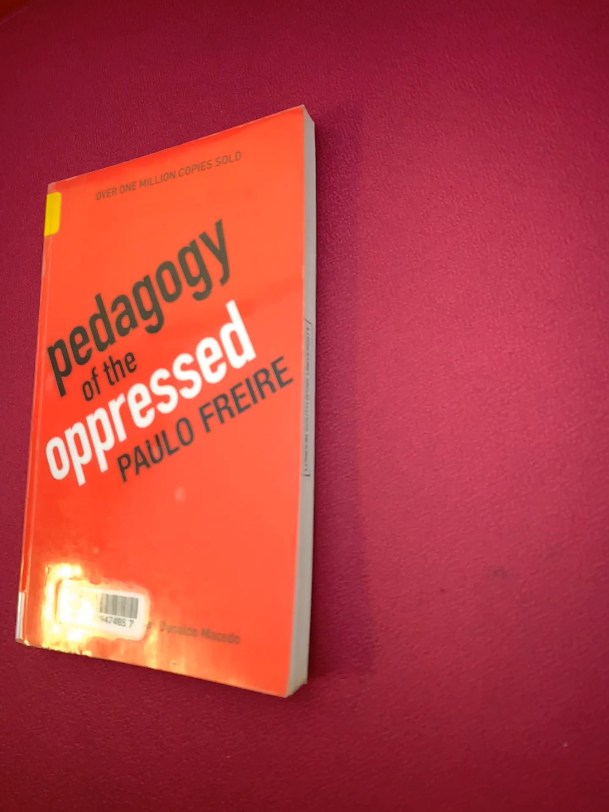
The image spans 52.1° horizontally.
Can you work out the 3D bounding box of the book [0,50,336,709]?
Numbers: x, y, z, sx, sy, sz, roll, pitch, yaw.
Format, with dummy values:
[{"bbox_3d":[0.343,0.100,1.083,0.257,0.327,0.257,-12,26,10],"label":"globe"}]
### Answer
[{"bbox_3d":[-0.069,-0.012,0.276,0.170,0.030,0.240,-4,80,28],"label":"book"}]
